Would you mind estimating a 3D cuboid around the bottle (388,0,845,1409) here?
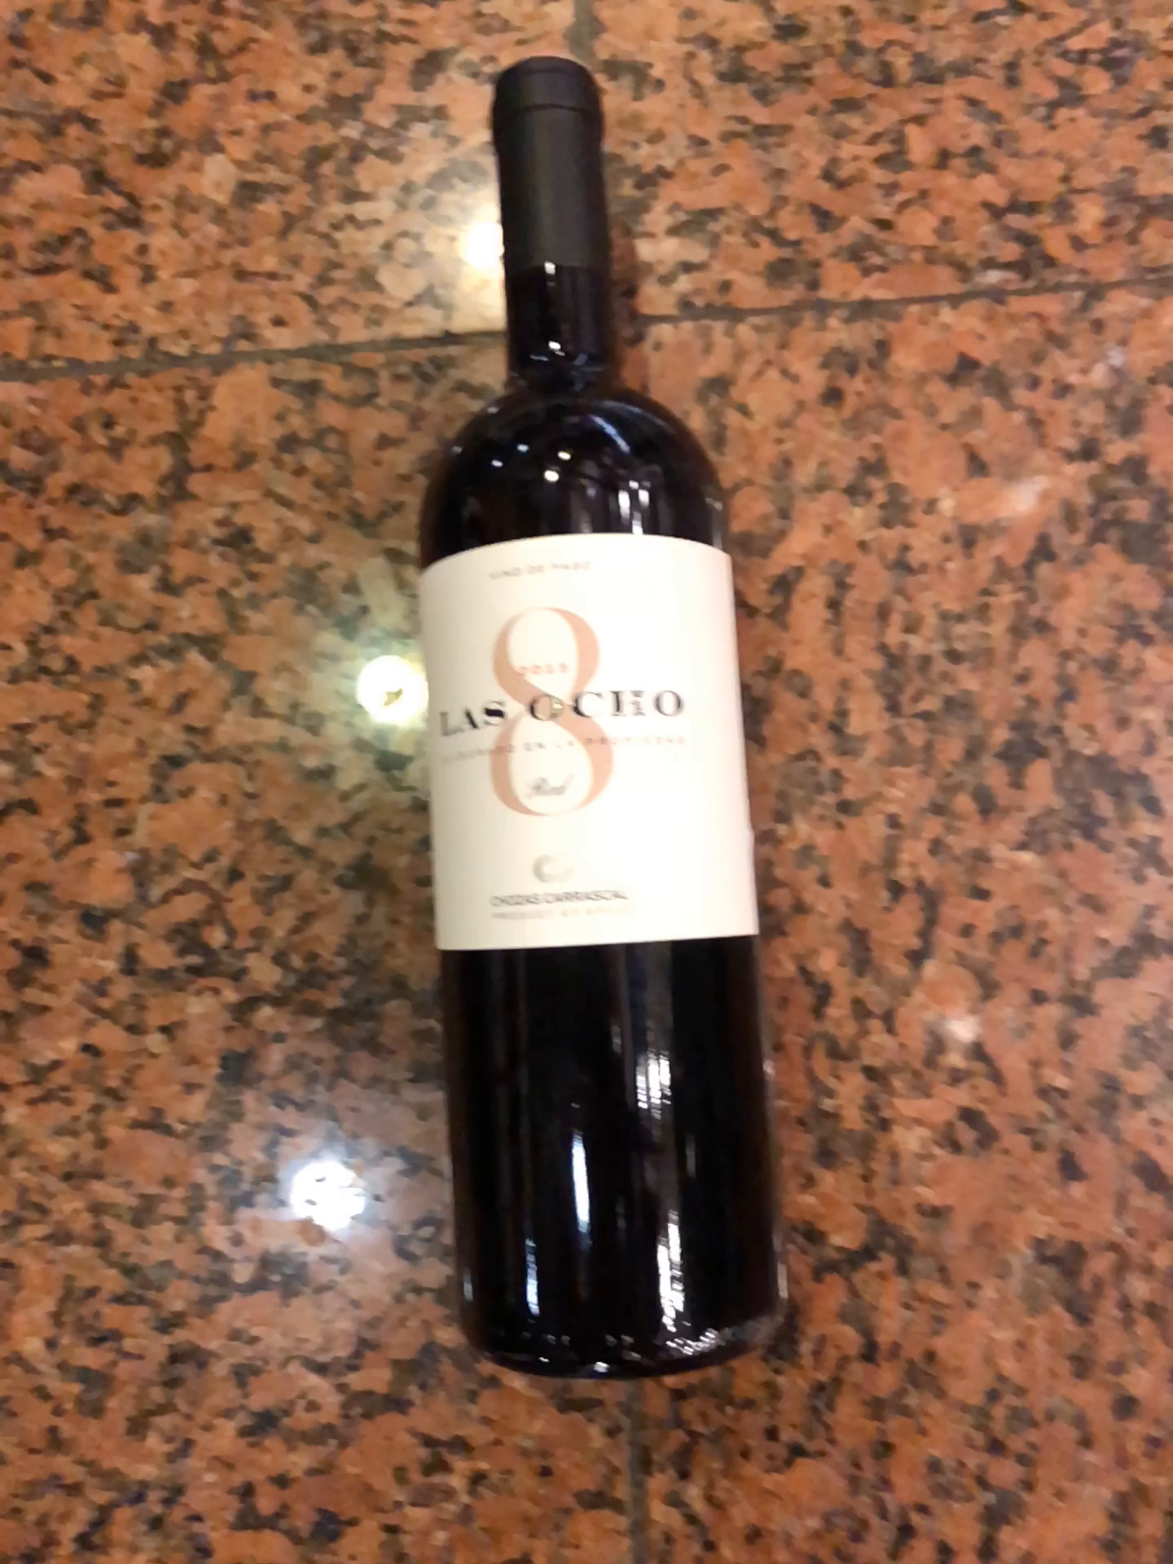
[{"bbox_3d":[0.007,-0.039,0.316,0.080,0.070,0.340,-4,85,6],"label":"bottle"}]
